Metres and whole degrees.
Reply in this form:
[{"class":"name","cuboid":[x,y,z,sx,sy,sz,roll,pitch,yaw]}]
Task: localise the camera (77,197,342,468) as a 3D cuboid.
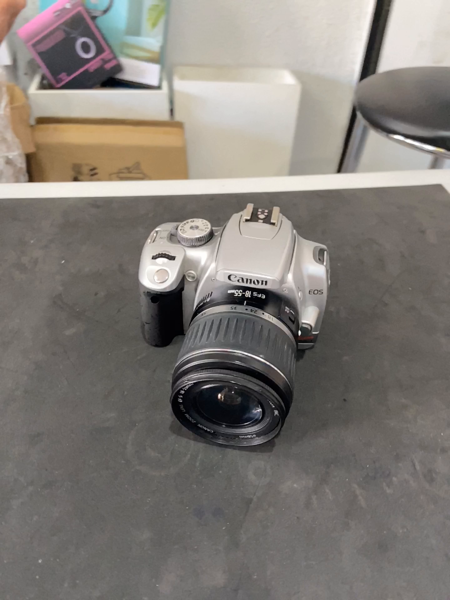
[{"class":"camera","cuboid":[0.000,0.011,0.288,0.120,0.079,0.141,6,41,5]}]
